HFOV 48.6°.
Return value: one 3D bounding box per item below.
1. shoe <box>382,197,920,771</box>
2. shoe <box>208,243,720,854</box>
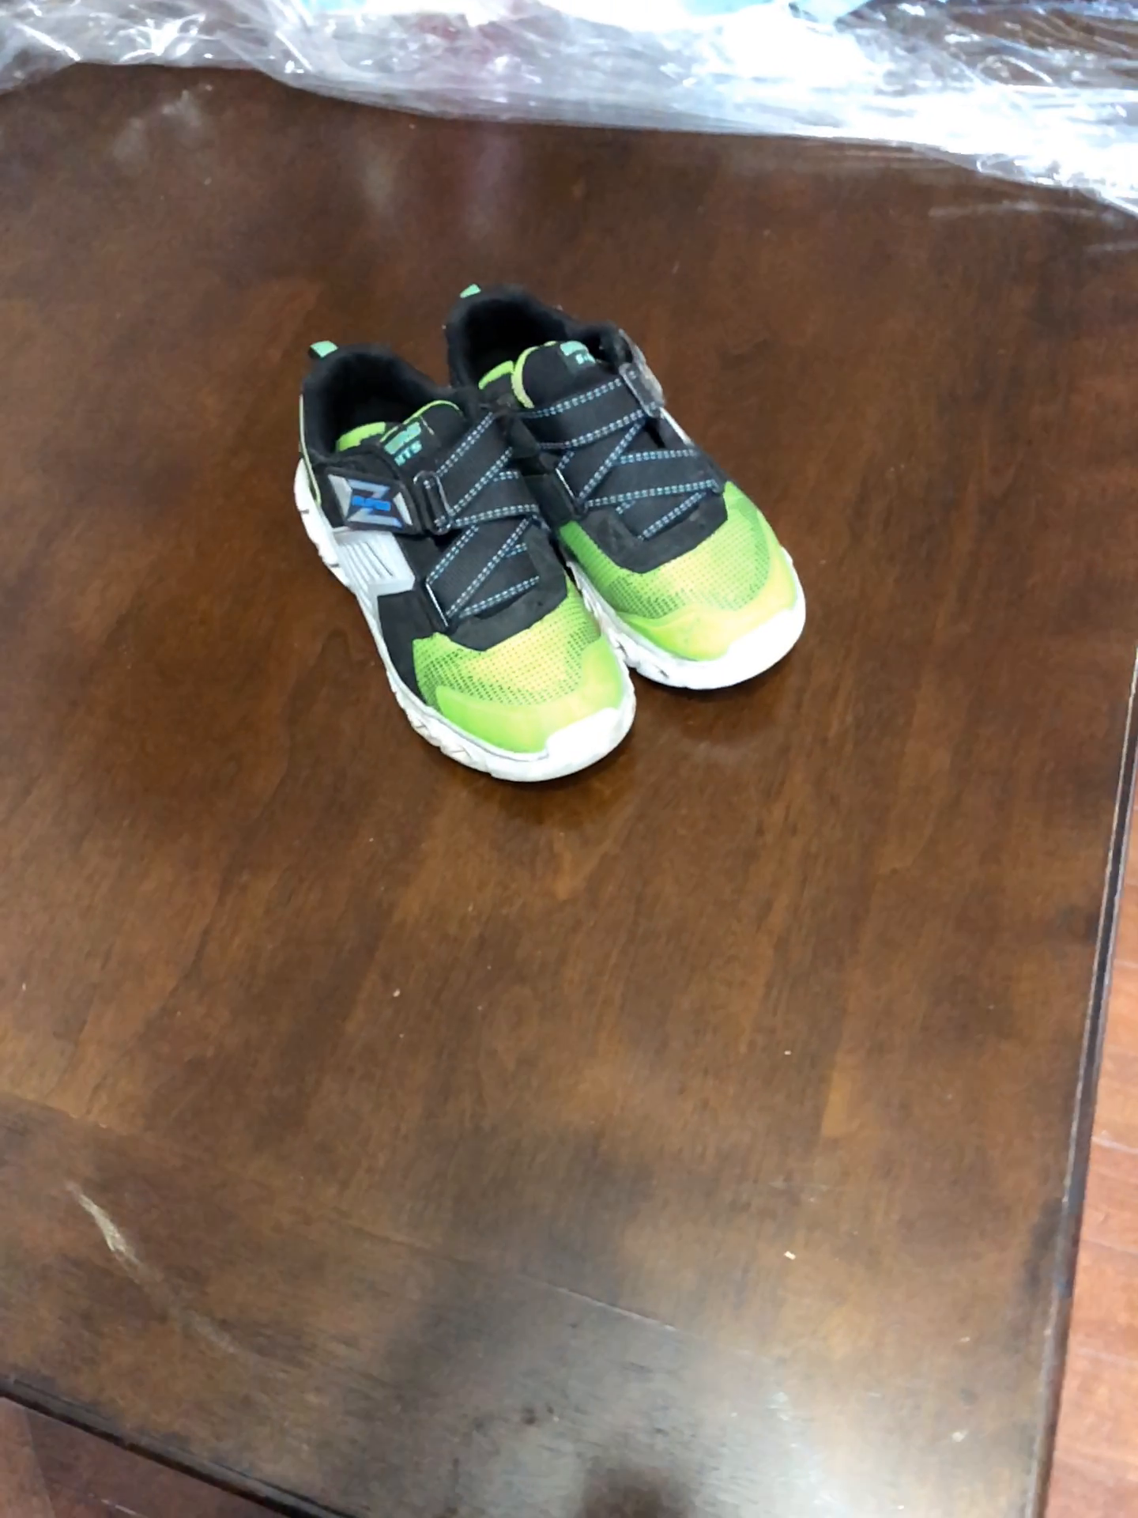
[{"bbox_3d":[0.028,-0.119,0.528,0.100,0.100,0.210,-33,63,-14],"label":"shoe"},{"bbox_3d":[-0.043,-0.088,0.505,0.100,0.100,0.210,-29,62,-12],"label":"shoe"}]
